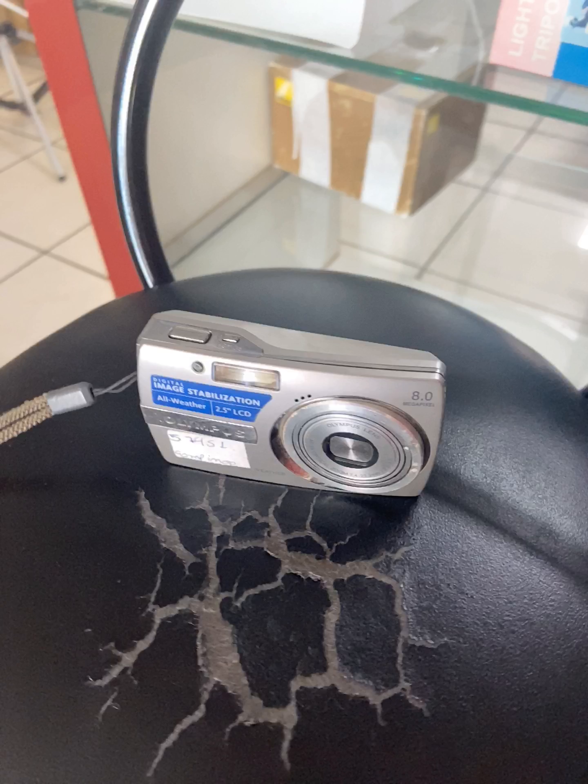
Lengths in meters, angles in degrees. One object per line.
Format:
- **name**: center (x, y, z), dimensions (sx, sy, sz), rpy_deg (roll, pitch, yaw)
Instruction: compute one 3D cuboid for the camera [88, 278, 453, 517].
- **camera**: center (-0.006, 0.003, 0.197), dimensions (0.100, 0.060, 0.030), rpy_deg (8, 48, 9)
